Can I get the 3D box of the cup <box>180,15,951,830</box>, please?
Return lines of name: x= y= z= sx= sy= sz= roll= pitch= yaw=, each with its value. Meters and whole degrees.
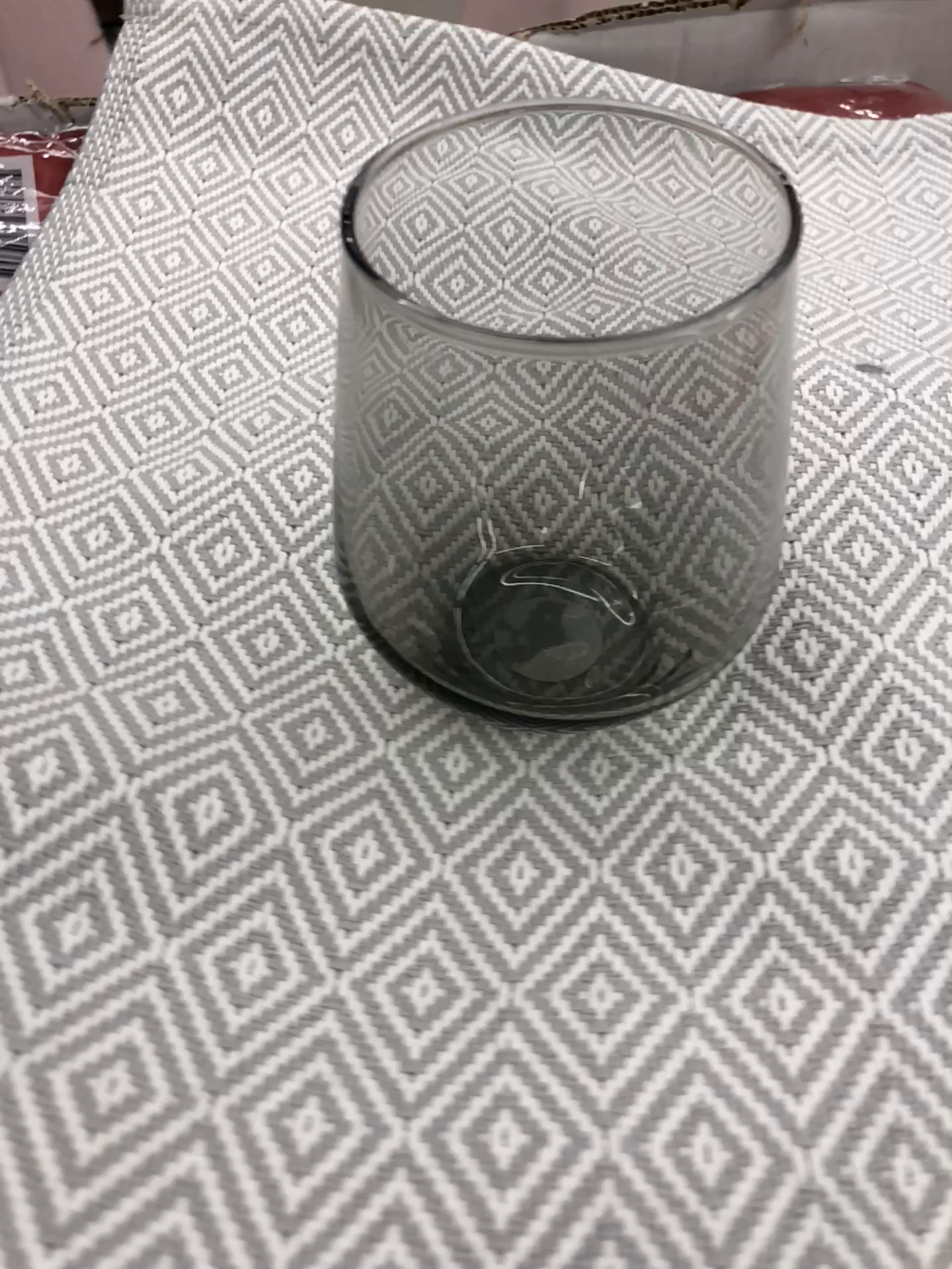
cup: x=0.015 y=-0.038 z=0.176 sx=0.080 sy=0.080 sz=0.080 roll=0 pitch=49 yaw=0
